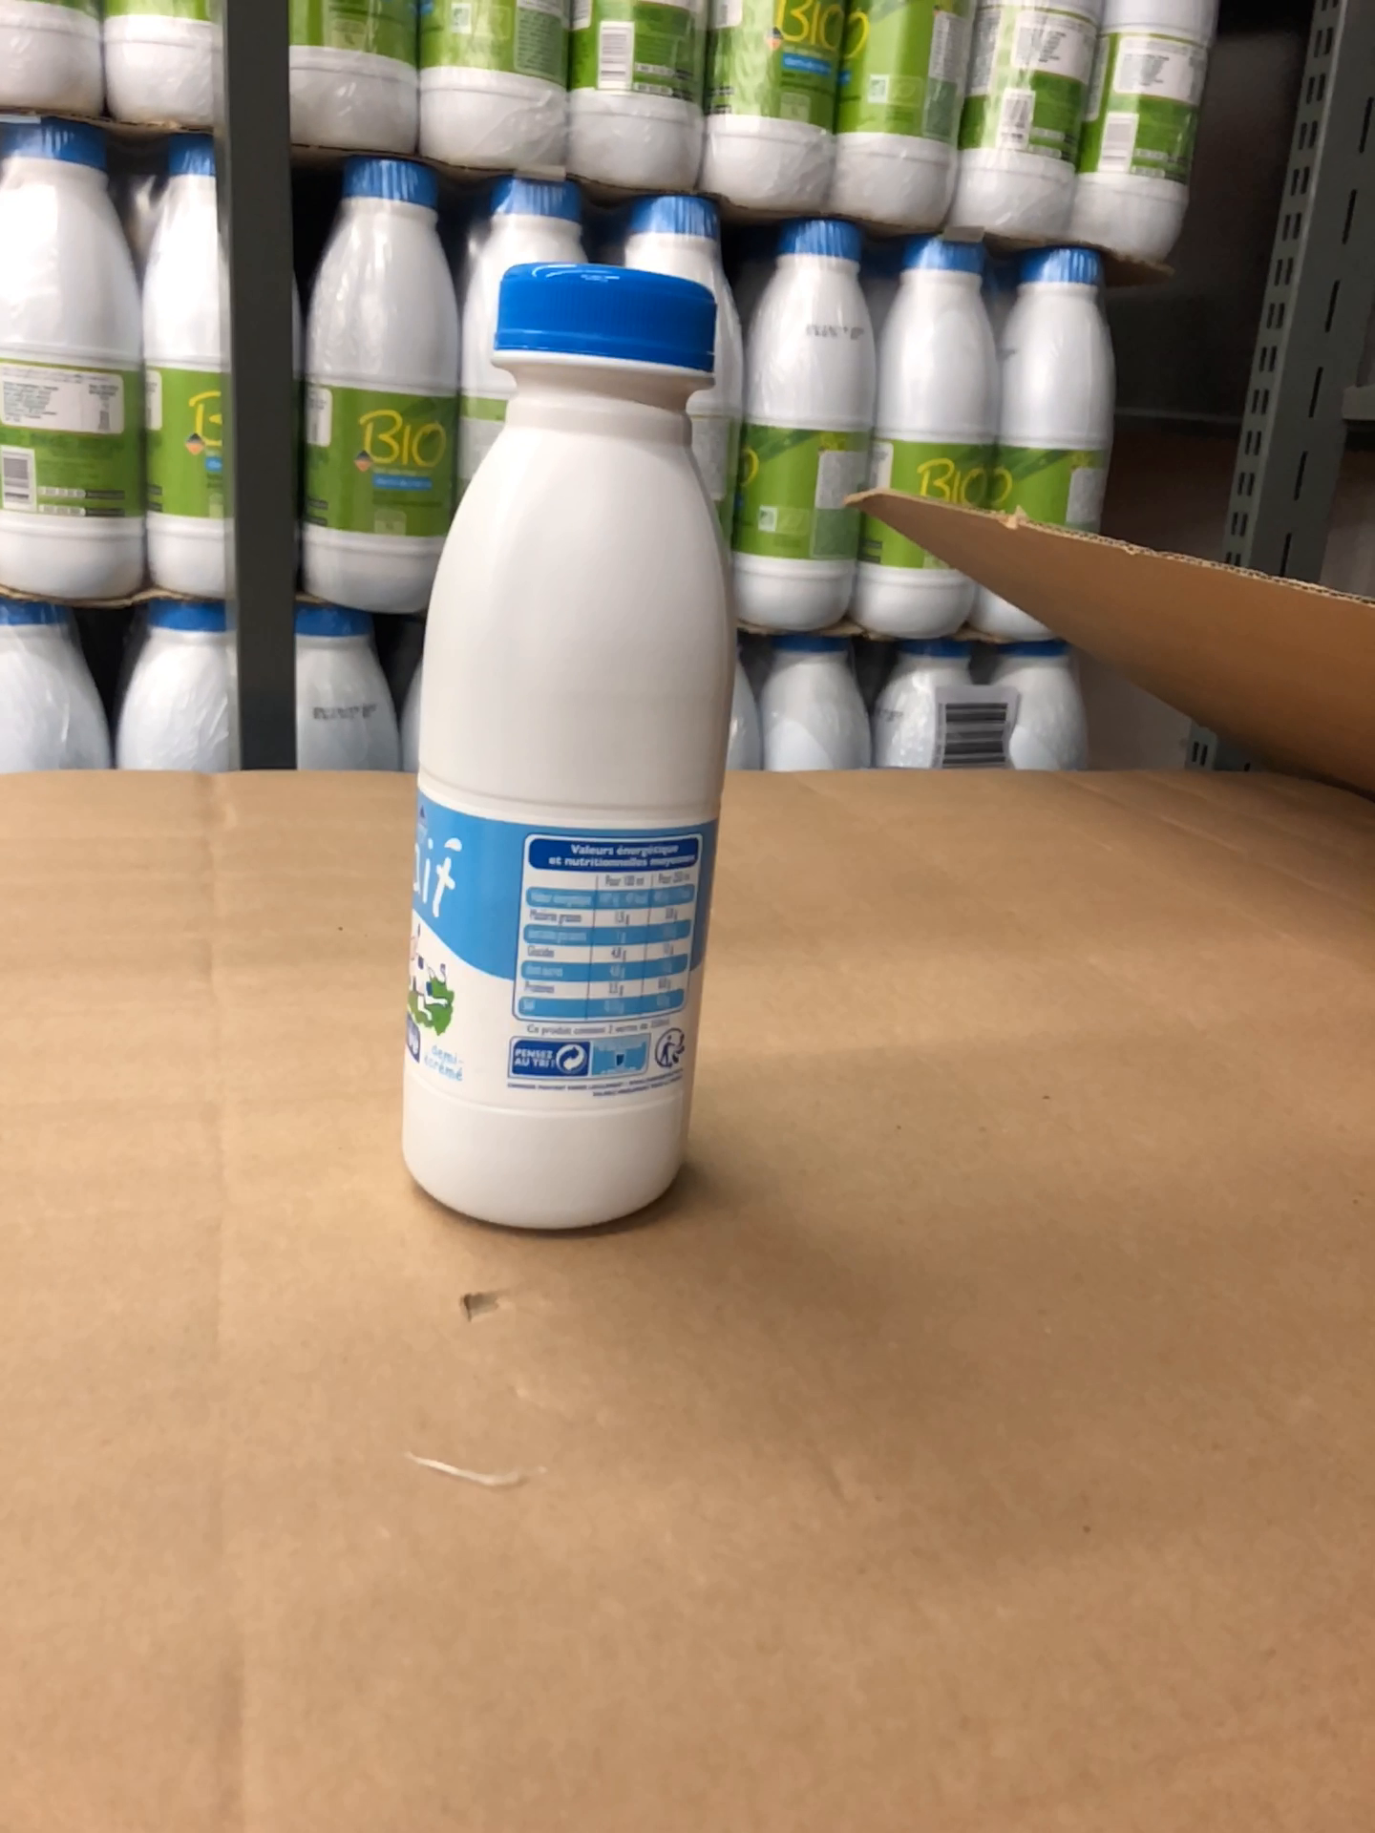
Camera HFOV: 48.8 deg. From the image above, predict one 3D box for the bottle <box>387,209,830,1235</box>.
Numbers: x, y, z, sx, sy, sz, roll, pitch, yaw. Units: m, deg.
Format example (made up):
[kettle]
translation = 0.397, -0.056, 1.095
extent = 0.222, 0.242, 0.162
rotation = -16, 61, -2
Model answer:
[bottle]
translation = -0.024, -0.038, 0.318
extent = 0.070, 0.189, 0.070
rotation = 4, 17, -1
